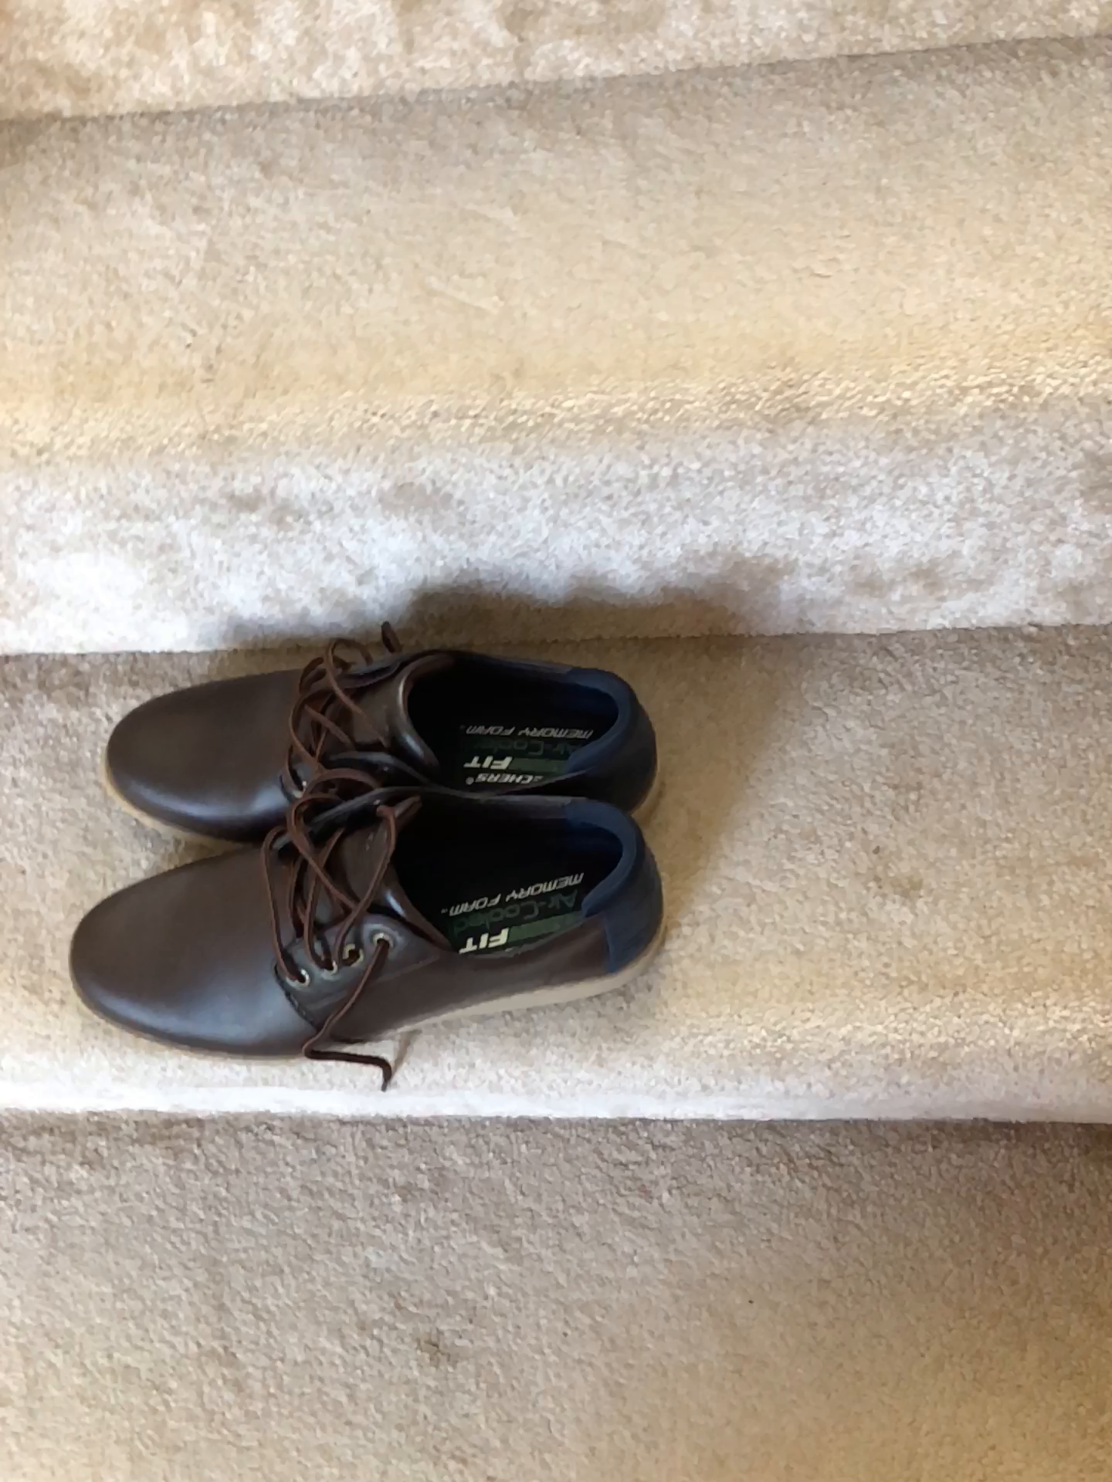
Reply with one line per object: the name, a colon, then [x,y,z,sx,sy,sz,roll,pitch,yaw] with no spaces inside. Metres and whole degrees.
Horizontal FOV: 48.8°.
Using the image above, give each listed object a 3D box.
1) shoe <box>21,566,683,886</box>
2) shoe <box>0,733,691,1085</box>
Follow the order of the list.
shoe: [-0.092,-0.004,0.612,0.300,0.090,0.110,-4,61,5]
shoe: [-0.093,0.082,0.577,0.300,0.090,0.110,-6,61,4]
